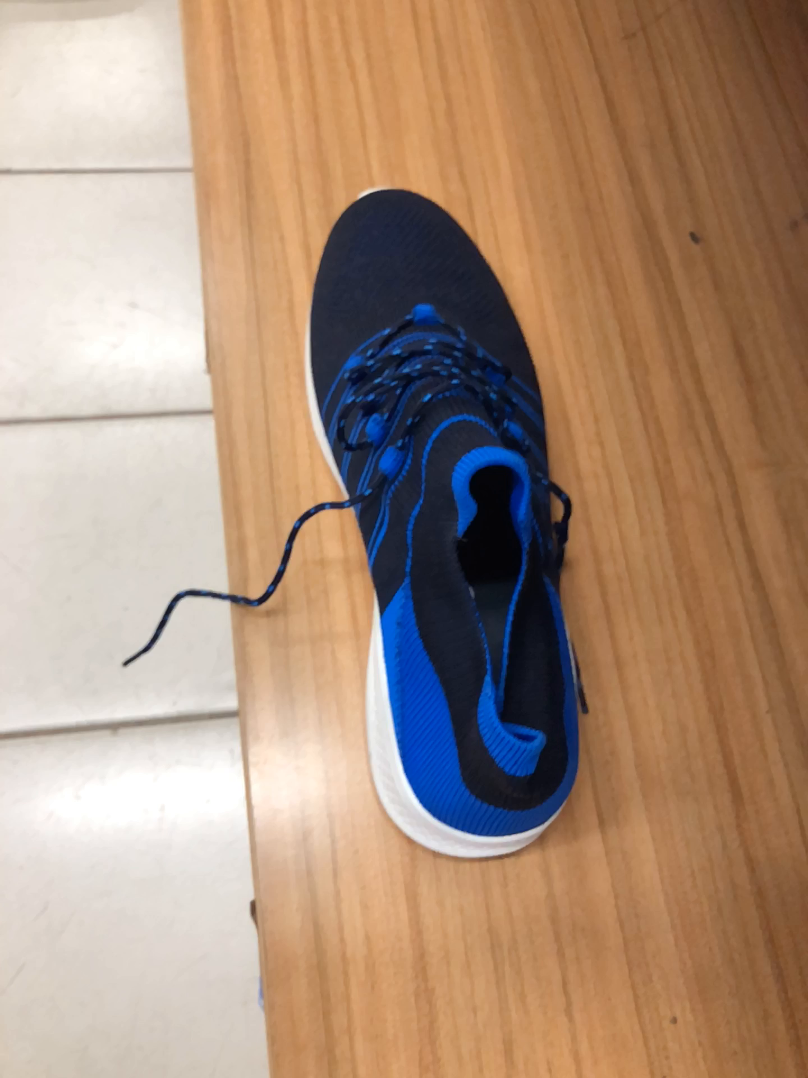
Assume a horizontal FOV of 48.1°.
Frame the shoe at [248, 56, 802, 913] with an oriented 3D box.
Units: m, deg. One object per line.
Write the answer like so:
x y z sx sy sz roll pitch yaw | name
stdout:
0.020 -0.021 0.317 0.110 0.110 0.260 -8 71 -9 | shoe
